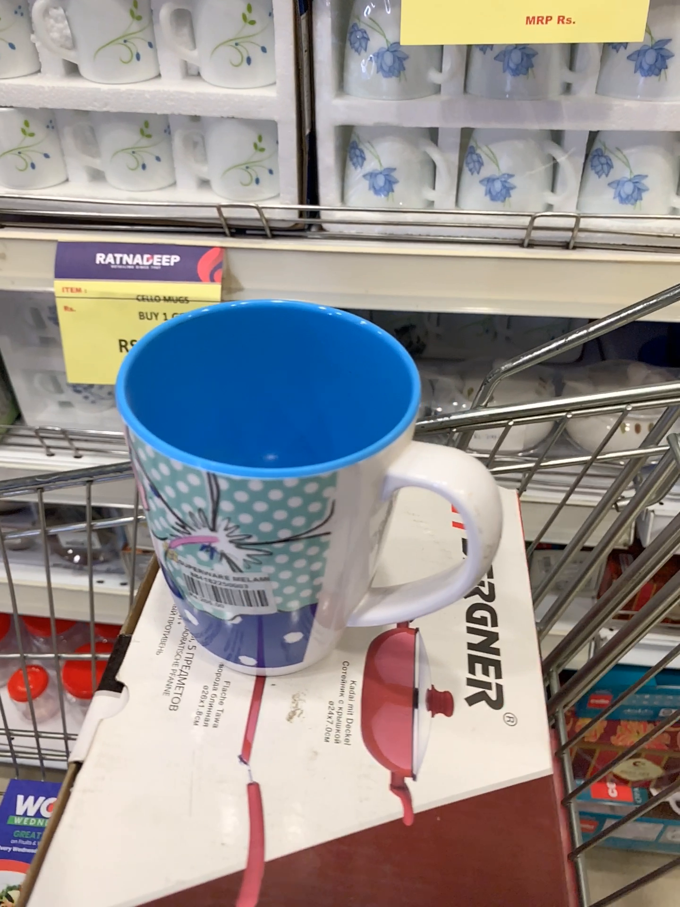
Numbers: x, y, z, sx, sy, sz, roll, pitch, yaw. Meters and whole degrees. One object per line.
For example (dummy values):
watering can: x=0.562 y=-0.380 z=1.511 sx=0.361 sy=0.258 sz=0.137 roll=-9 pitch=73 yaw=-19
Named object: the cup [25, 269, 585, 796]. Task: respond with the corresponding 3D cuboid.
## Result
cup: x=-0.006 y=0.020 z=0.212 sx=0.120 sy=0.100 sz=0.080 roll=16 pitch=43 yaw=15
